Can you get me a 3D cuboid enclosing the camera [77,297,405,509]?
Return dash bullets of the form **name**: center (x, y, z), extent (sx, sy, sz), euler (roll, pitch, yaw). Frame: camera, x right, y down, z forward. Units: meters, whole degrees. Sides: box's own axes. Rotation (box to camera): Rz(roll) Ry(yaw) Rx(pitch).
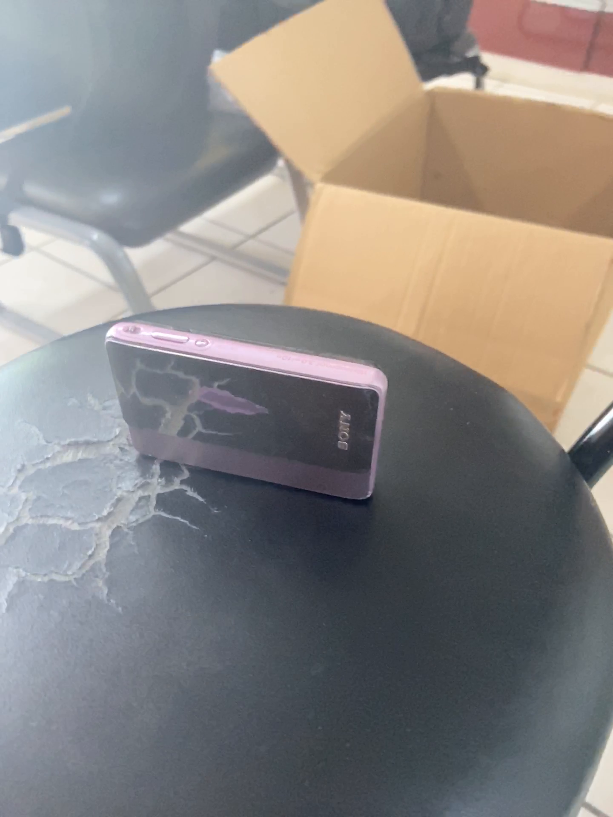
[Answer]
- **camera**: center (-0.021, -0.002, 0.222), extent (0.100, 0.050, 0.030), euler (10, 44, 10)
